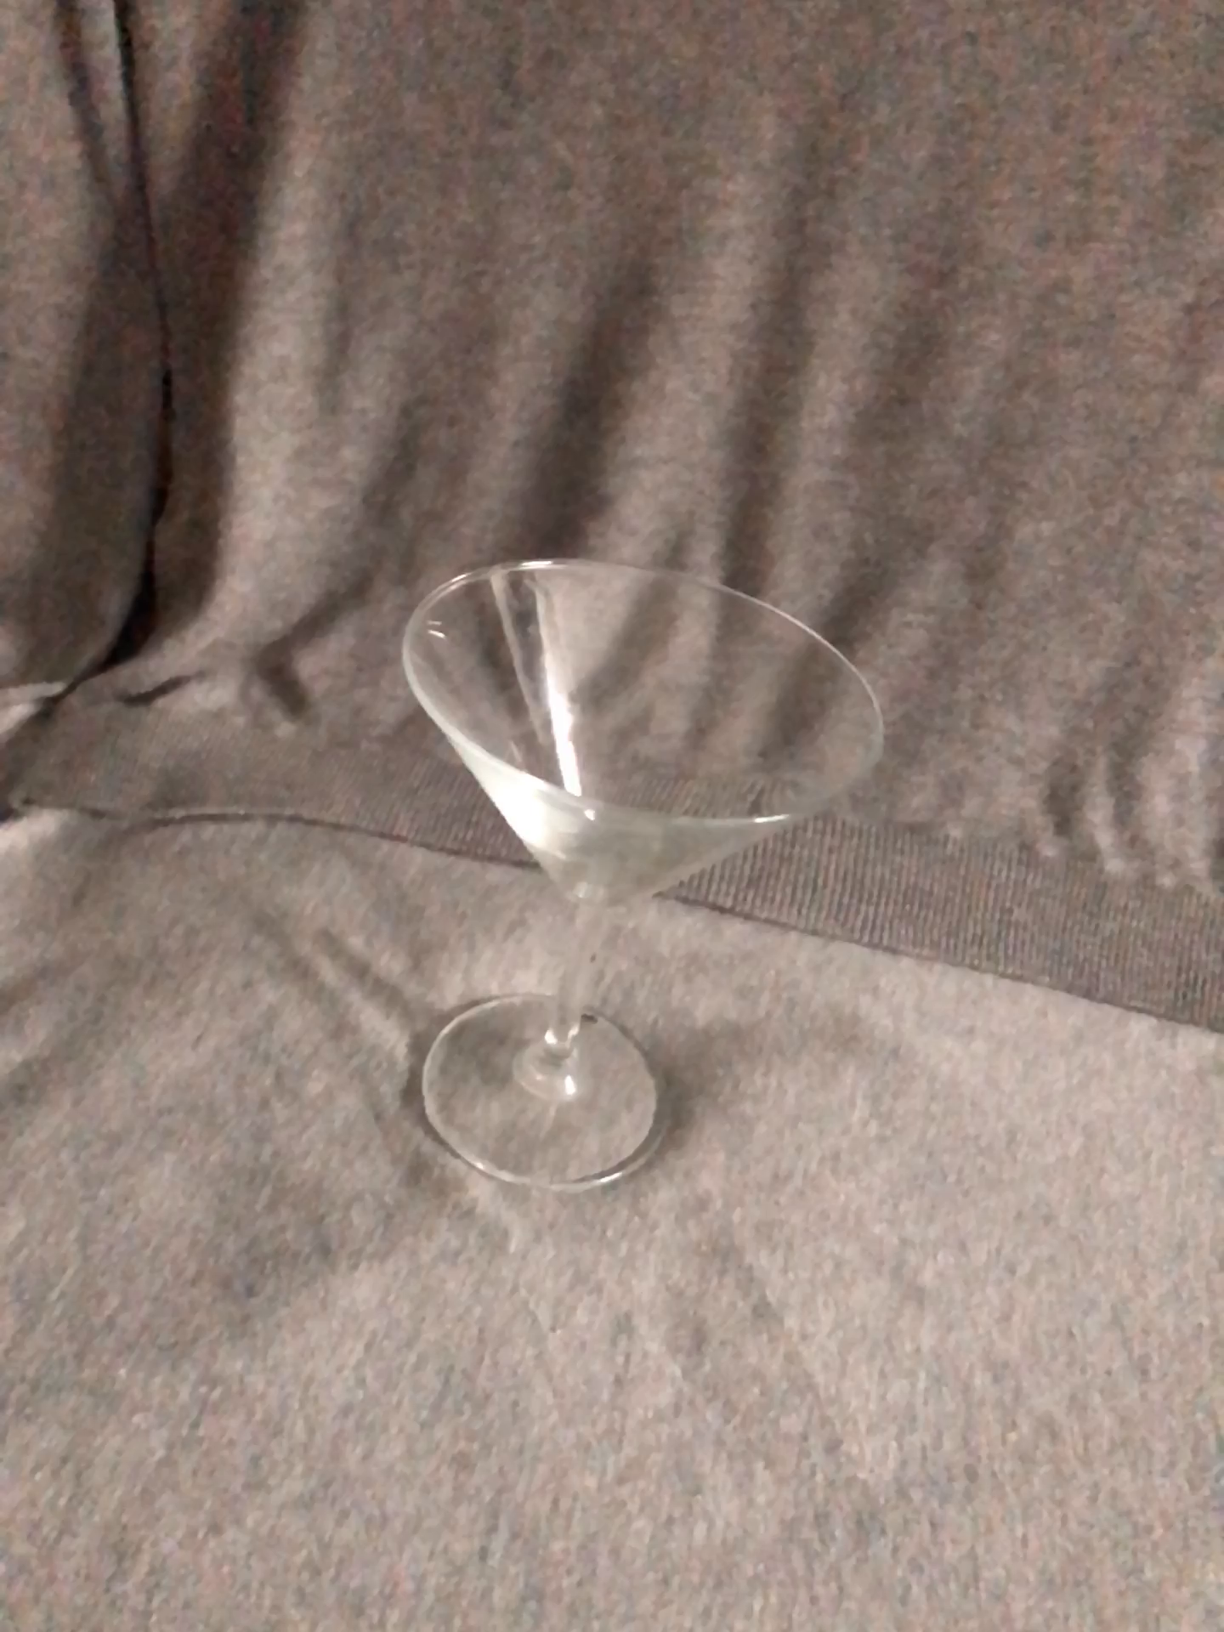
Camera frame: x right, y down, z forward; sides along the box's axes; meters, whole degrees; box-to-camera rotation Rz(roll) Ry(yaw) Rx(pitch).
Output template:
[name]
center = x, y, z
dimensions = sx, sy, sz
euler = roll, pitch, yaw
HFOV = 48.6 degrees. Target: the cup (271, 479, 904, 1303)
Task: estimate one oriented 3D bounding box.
[cup]
center = -0.008, 0.021, 0.359
dimensions = 0.113, 0.157, 0.112
euler = 10, 39, -8
